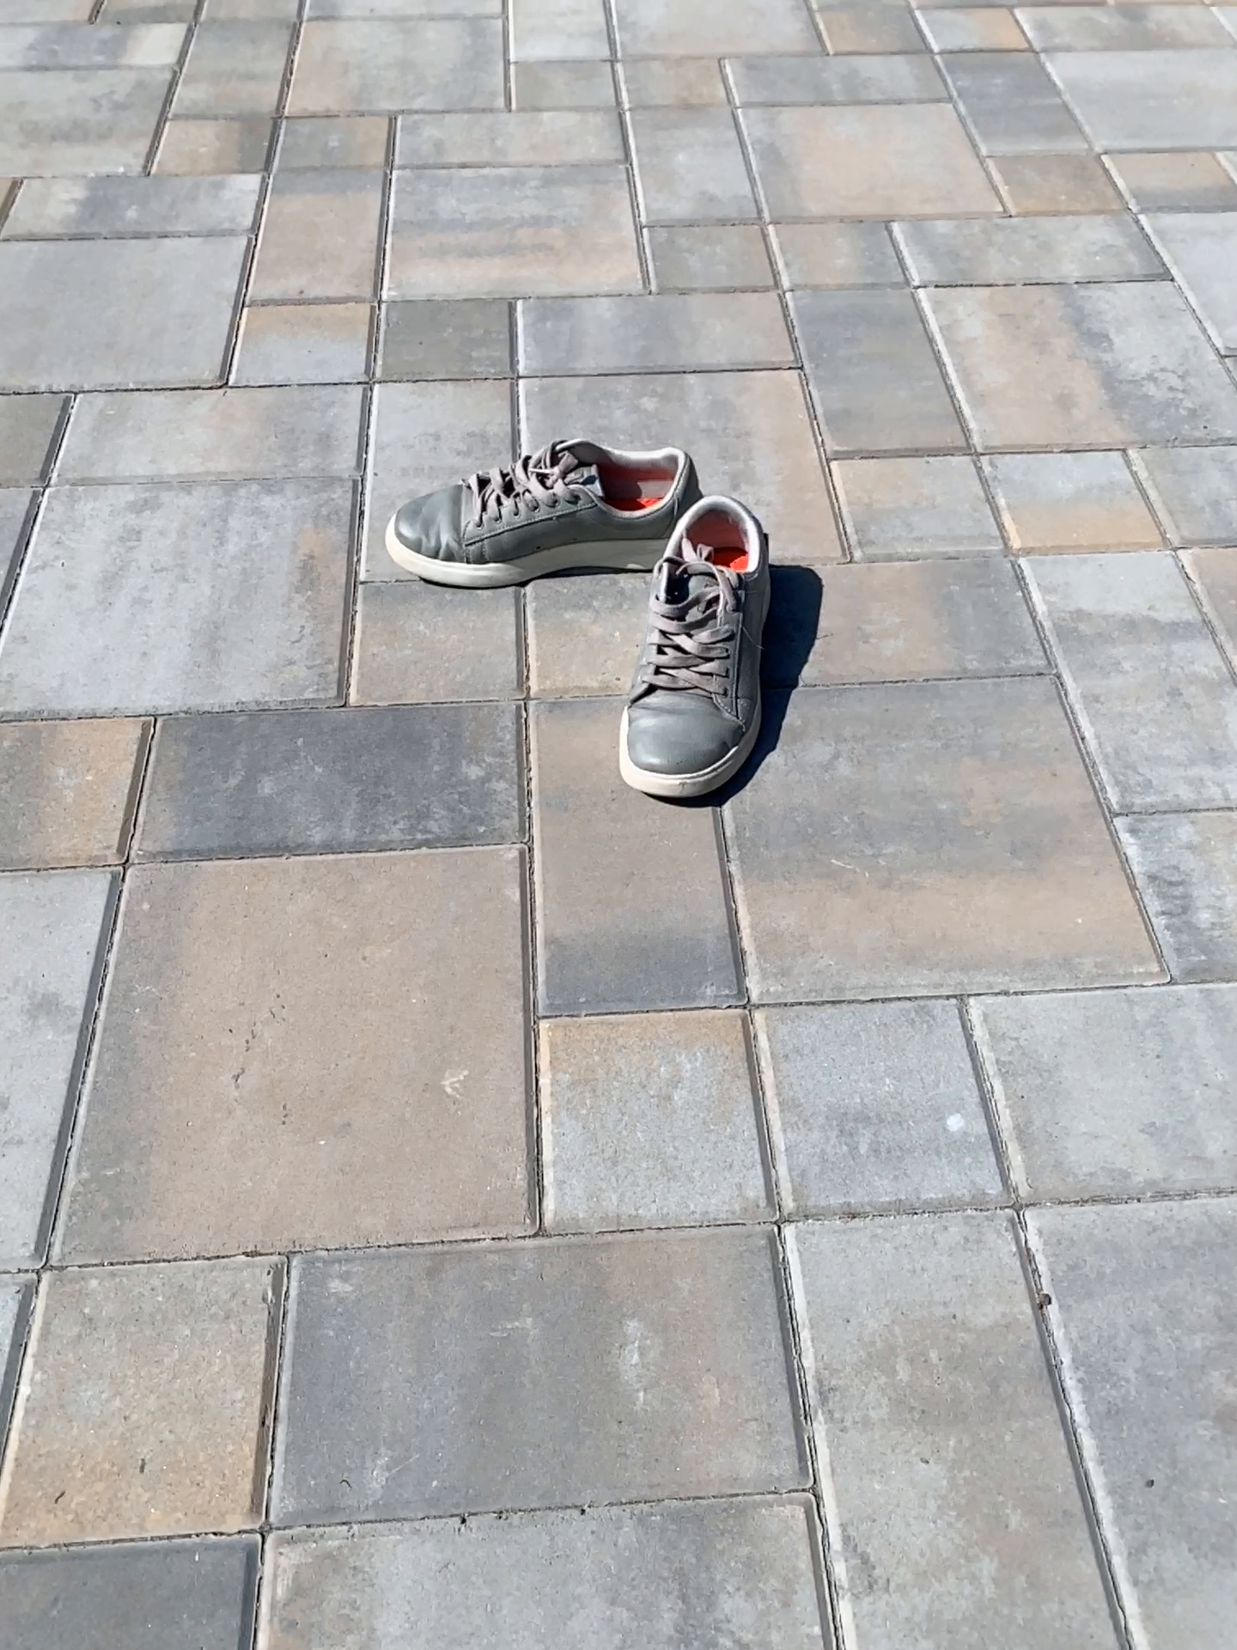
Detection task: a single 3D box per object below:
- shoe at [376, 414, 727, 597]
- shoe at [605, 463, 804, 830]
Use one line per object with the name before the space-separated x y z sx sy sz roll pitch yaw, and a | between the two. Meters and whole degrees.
shoe | -0.063 -0.292 1.153 0.300 0.090 0.120 -4 53 -4
shoe | 0.074 -0.155 1.047 0.120 0.110 0.301 8 53 5
